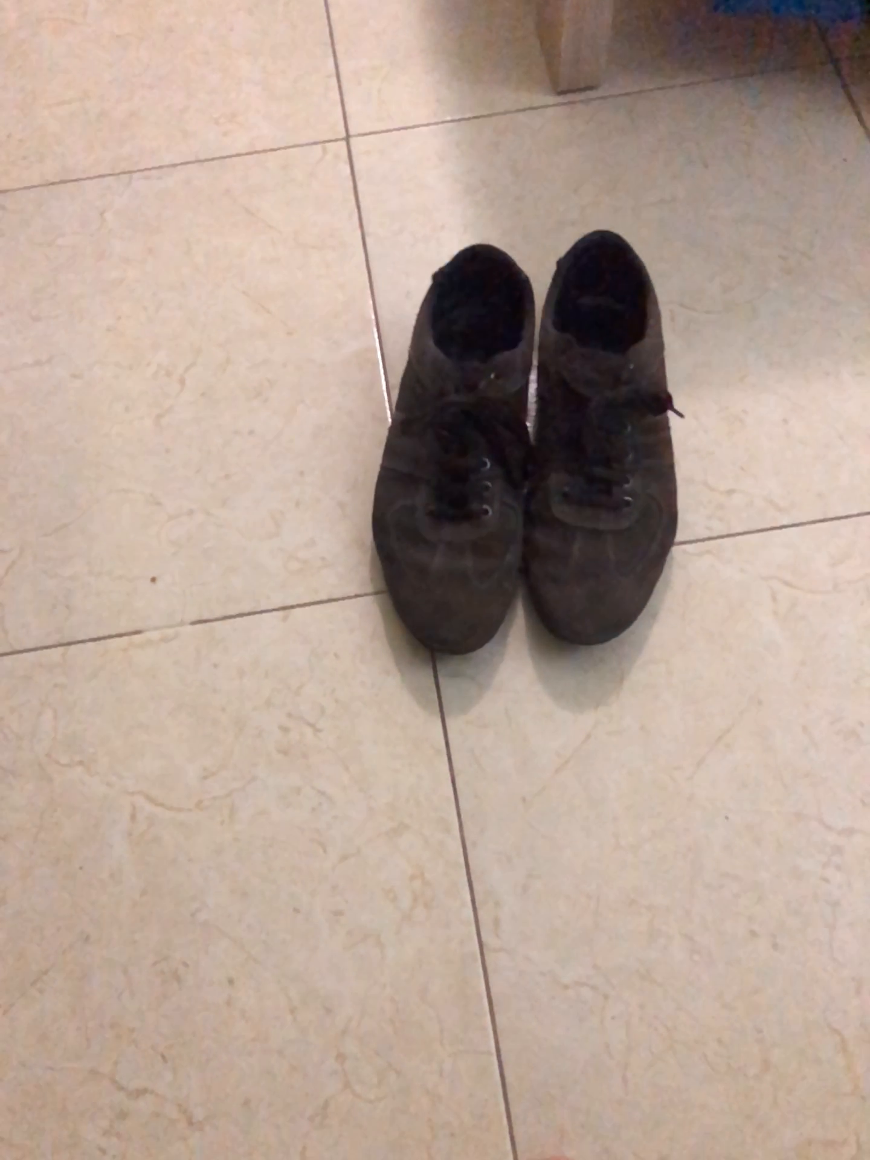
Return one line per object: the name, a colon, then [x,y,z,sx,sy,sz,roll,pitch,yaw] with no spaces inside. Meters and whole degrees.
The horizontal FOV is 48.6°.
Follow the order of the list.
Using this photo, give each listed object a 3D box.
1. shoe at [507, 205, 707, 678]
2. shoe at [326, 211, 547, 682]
shoe: [0.112,-0.097,0.652,0.110,0.110,0.300,3,66,5]
shoe: [0.010,-0.094,0.652,0.120,0.110,0.300,2,66,4]
